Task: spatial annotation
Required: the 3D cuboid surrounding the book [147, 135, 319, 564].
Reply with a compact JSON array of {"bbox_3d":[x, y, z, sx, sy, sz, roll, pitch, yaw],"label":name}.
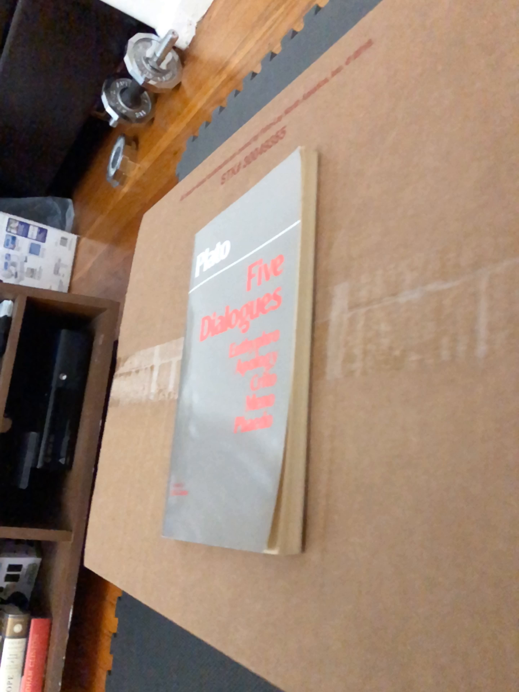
[{"bbox_3d":[-0.019,0.007,0.341,0.141,0.020,0.220,-23,59,54],"label":"book"}]
